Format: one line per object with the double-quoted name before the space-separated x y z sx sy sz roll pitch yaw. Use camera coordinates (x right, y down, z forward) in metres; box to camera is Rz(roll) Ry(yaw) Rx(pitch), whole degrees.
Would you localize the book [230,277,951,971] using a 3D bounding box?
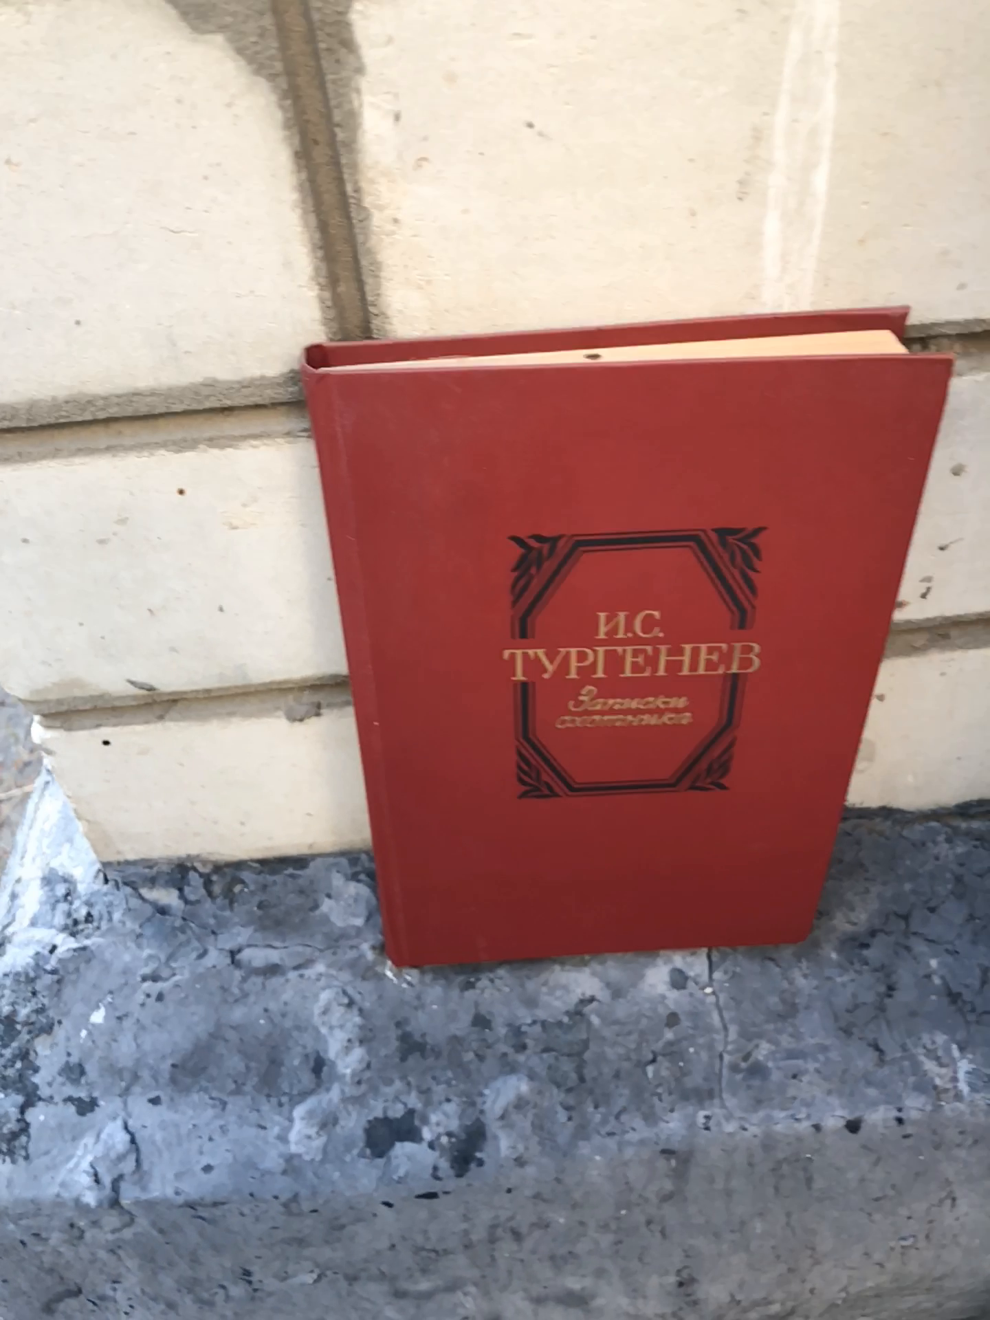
"book" 0.026 0.008 0.298 0.147 0.205 0.026 -3 38 3
